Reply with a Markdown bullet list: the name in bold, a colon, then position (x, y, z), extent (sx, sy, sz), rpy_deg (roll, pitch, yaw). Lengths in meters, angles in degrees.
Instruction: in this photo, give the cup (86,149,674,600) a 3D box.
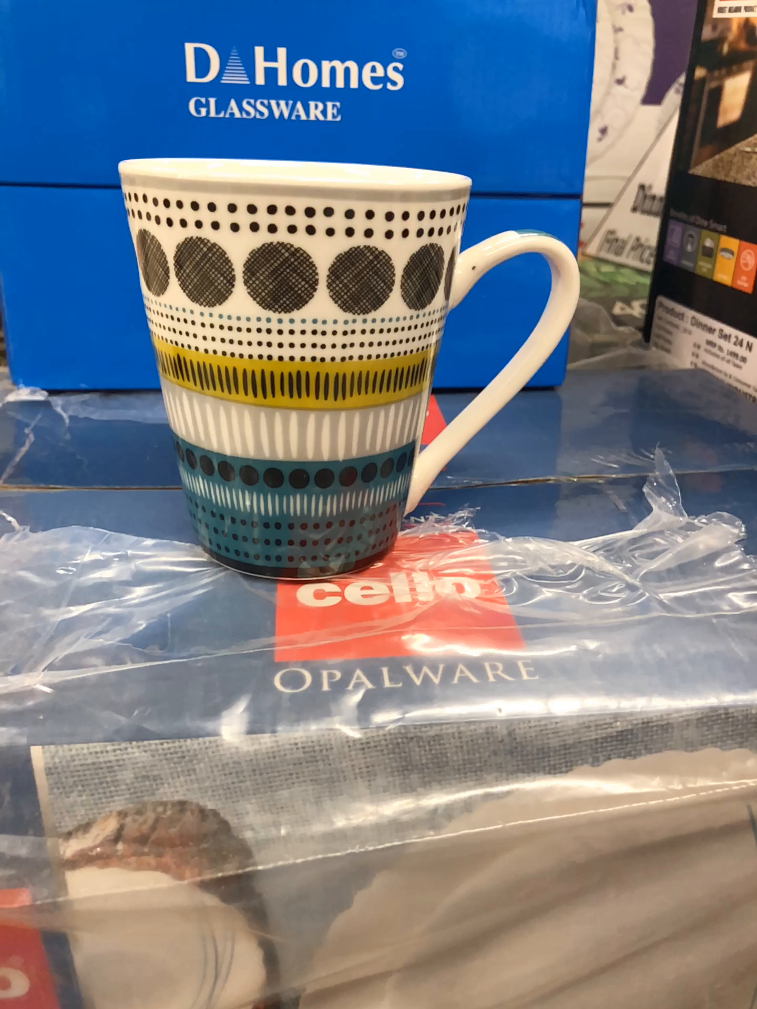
- **cup**: position (-0.006, -0.043, 0.227), extent (0.120, 0.089, 0.090), rpy_deg (-5, 27, -12)
